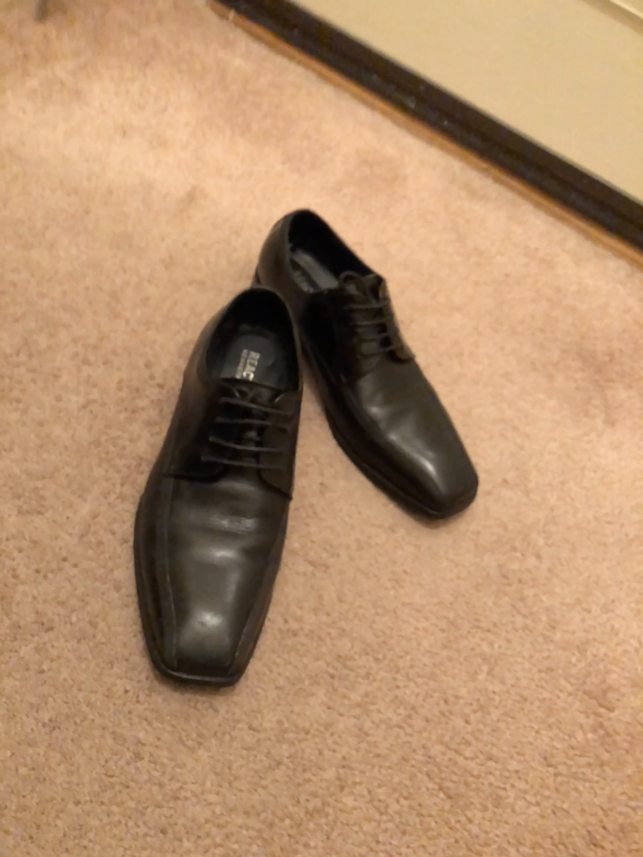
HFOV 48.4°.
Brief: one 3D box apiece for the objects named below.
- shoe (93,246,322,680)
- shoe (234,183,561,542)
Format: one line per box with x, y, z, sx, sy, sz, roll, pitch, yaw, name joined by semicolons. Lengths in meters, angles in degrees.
-0.074;0.015;0.515;0.110;0.107;0.284;11;53;-11;shoe
0.051;-0.069;0.633;0.115;0.110;0.297;-20;64;-29;shoe
